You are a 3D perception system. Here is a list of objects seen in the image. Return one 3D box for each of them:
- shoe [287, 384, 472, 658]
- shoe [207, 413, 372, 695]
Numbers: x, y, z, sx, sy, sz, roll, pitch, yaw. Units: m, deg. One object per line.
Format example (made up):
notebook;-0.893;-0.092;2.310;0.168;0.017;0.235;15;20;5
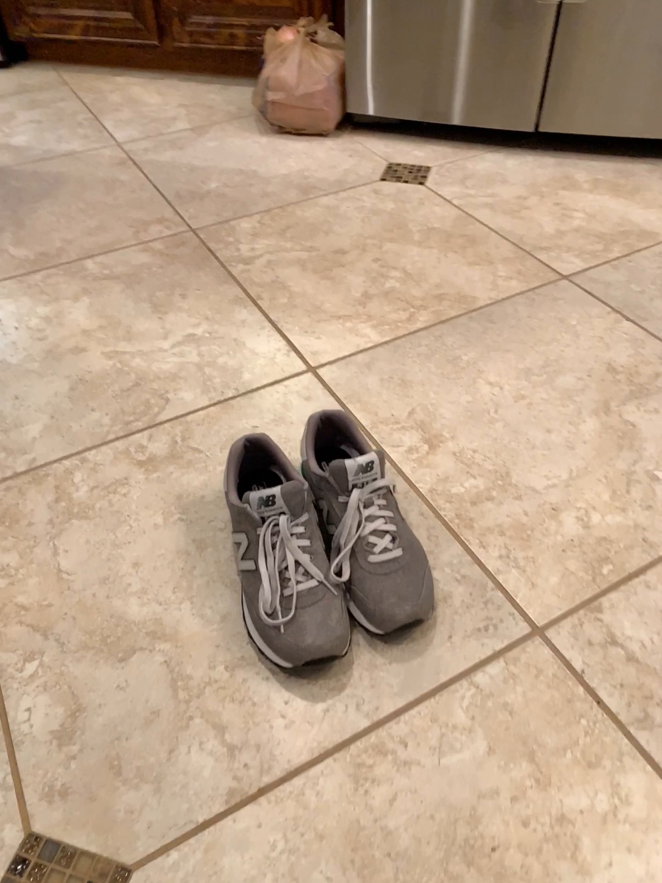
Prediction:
shoe;0.040;0.074;0.754;0.115;0.103;0.285;-11;45;-9
shoe;-0.052;0.107;0.731;0.115;0.103;0.275;-11;45;-9
